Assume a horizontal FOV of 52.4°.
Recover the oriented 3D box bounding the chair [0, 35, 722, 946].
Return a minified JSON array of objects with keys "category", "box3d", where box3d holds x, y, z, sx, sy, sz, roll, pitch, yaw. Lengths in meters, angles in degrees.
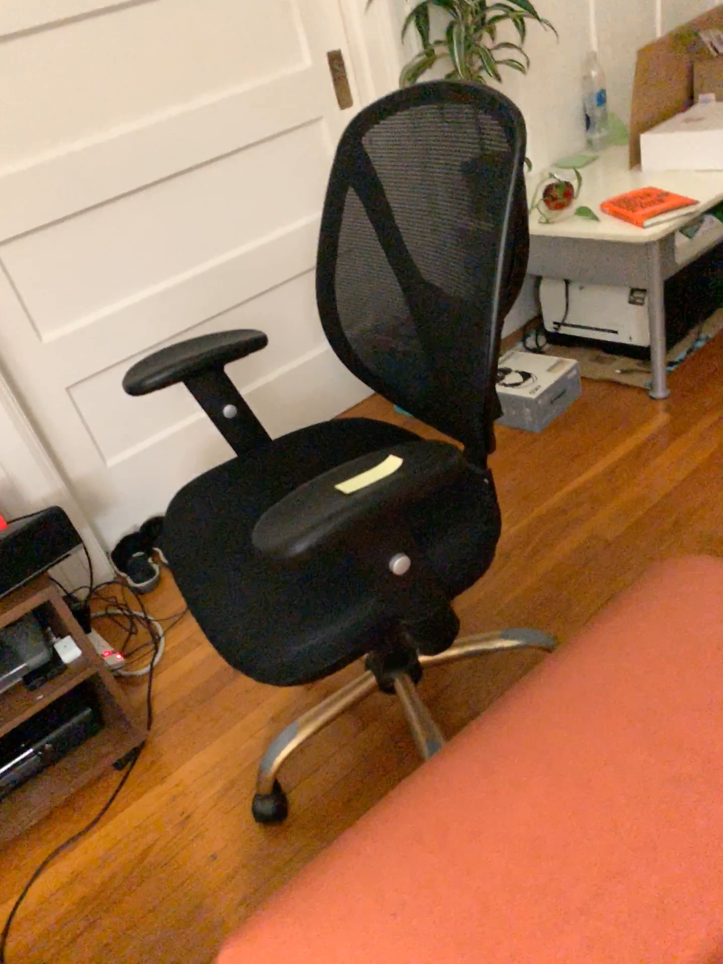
[{"category":"chair","box3d":[0.014,-0.028,1.108,0.660,0.974,0.644,-22,33,-17]}]
